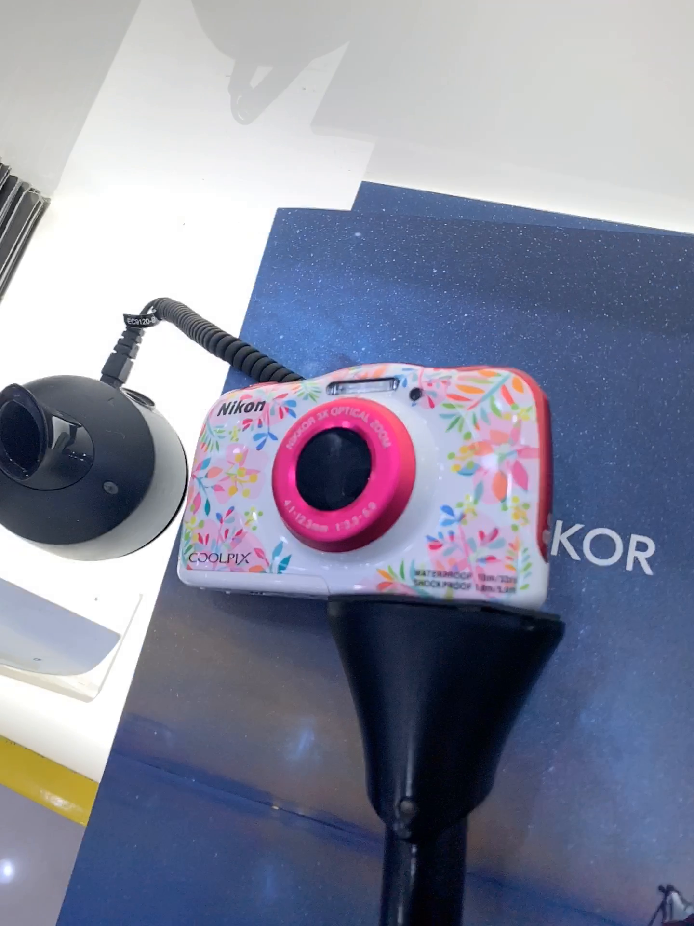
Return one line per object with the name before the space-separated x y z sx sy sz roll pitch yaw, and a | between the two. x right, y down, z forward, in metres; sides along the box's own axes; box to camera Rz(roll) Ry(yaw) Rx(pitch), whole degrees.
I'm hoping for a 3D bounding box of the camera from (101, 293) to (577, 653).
camera | 0.003 0.002 0.192 0.110 0.040 0.080 2 66 16
